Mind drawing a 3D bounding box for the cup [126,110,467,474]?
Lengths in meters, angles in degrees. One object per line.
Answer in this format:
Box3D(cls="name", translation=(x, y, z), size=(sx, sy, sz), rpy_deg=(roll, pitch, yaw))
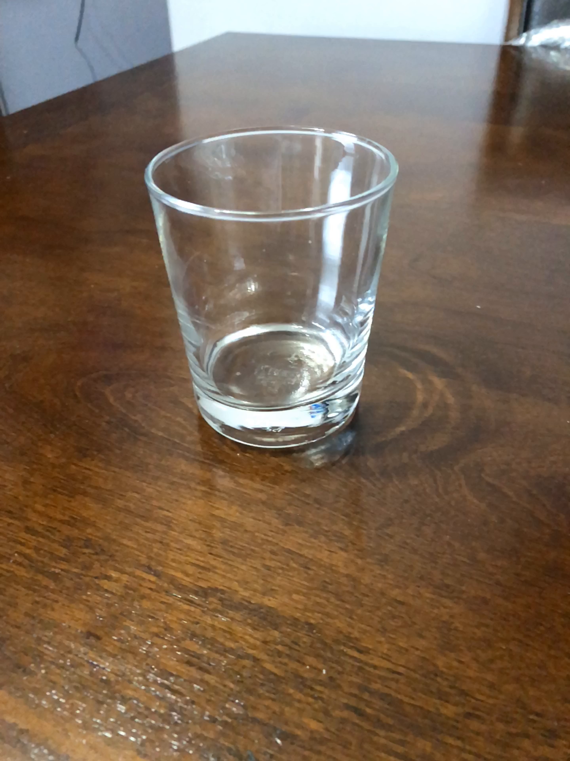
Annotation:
Box3D(cls="cup", translation=(-0.002, -0.038, 0.238), size=(0.090, 0.090, 0.090), rpy_deg=(-1, 37, 1))
